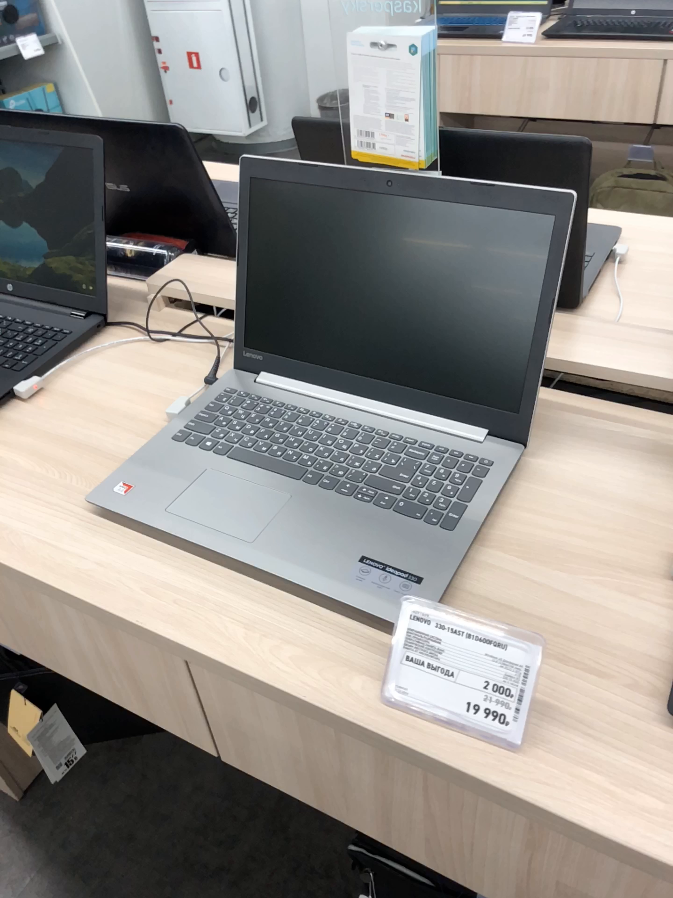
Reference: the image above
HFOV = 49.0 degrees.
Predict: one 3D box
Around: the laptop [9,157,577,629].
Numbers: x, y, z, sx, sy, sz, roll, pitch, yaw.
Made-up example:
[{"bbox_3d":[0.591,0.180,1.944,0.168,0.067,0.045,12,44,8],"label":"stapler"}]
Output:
[{"bbox_3d":[-0.018,-0.093,0.725,0.380,0.235,0.344,16,44,26],"label":"laptop"}]
